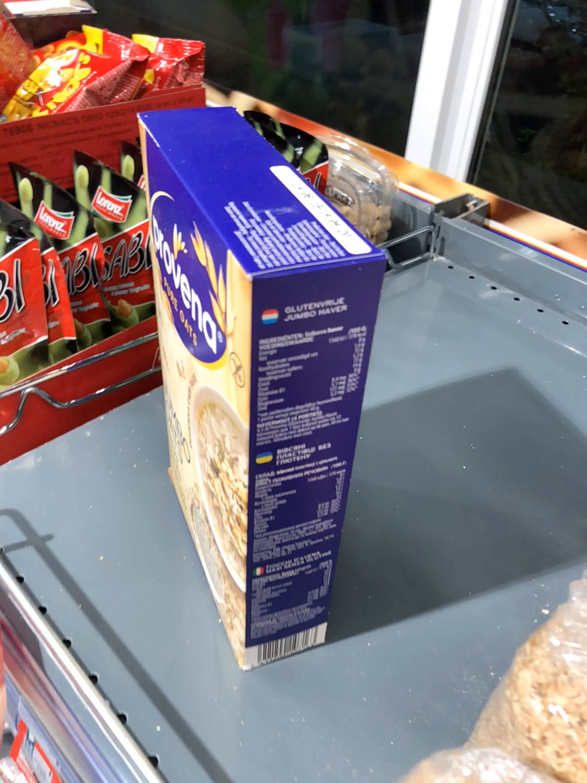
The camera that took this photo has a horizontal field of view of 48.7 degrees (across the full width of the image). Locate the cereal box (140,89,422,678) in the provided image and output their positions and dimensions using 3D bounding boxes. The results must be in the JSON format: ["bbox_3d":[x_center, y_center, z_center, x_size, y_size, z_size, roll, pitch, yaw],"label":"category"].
[{"bbox_3d":[-0.022,0.002,0.306,0.050,0.229,0.151,-12,43,-19],"label":"cereal box"}]
